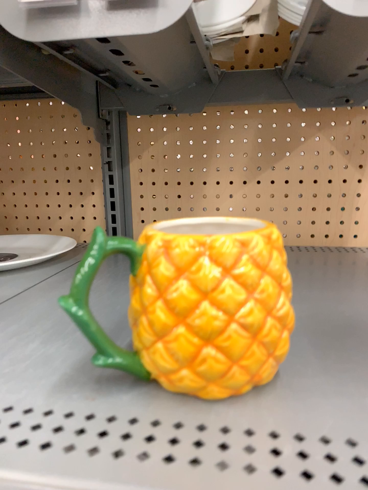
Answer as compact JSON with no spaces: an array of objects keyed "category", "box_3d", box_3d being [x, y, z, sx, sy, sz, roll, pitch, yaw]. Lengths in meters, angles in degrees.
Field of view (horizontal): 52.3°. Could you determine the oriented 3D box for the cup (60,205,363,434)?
[{"category":"cup","box_3d":[0.010,0.031,0.245,0.160,0.100,0.100,-4,11,-14]}]
